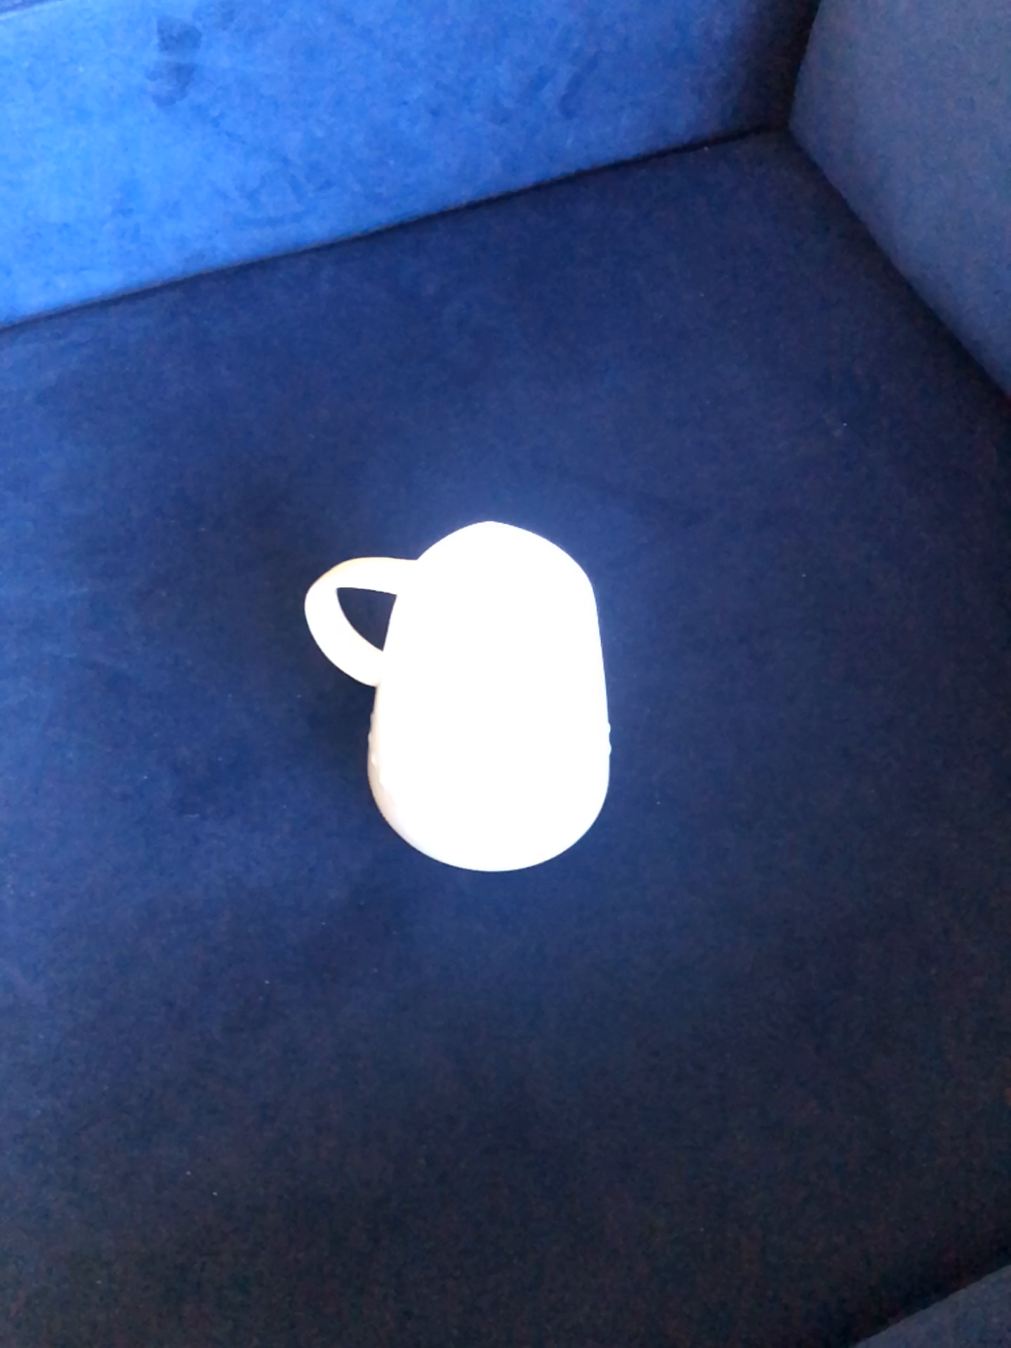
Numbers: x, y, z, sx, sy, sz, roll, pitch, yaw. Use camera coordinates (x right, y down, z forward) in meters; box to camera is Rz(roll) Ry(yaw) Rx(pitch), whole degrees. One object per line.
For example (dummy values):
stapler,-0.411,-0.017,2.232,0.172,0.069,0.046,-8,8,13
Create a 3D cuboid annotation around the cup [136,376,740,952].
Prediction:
cup,-0.020,-0.006,0.382,0.150,0.090,0.110,30,63,20
